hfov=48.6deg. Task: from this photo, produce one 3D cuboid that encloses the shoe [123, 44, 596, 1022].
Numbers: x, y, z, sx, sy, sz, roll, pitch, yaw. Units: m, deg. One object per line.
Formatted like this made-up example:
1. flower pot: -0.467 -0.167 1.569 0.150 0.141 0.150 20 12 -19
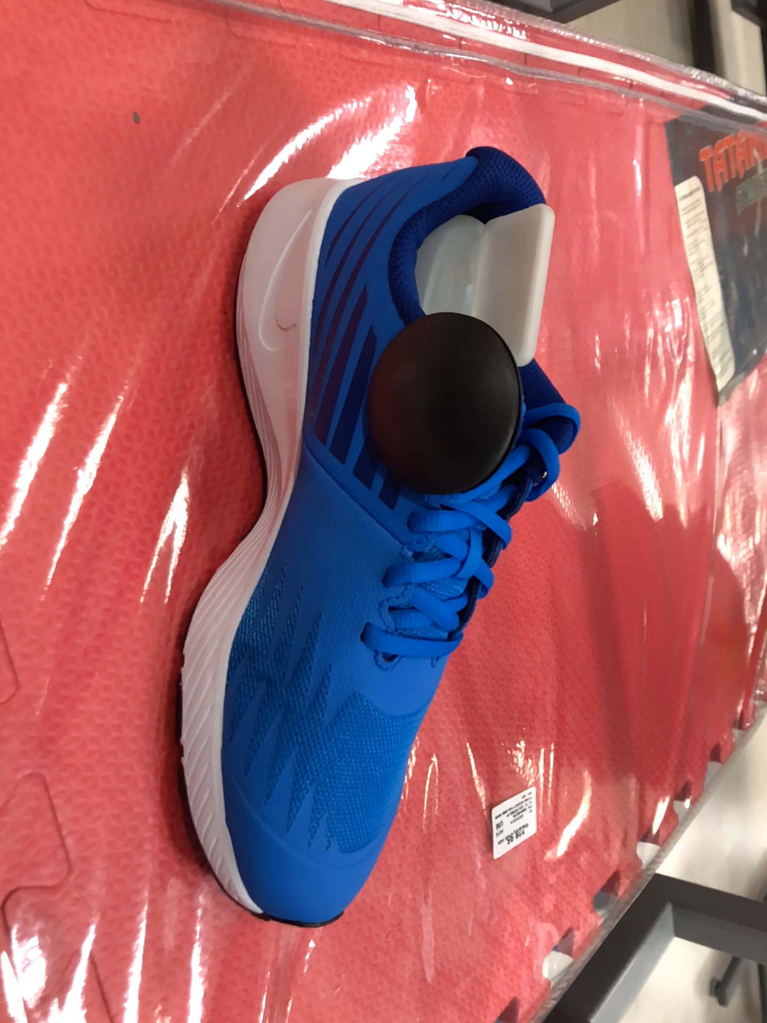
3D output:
1. shoe: -0.001 0.006 0.306 0.101 0.099 0.280 16 76 -49
